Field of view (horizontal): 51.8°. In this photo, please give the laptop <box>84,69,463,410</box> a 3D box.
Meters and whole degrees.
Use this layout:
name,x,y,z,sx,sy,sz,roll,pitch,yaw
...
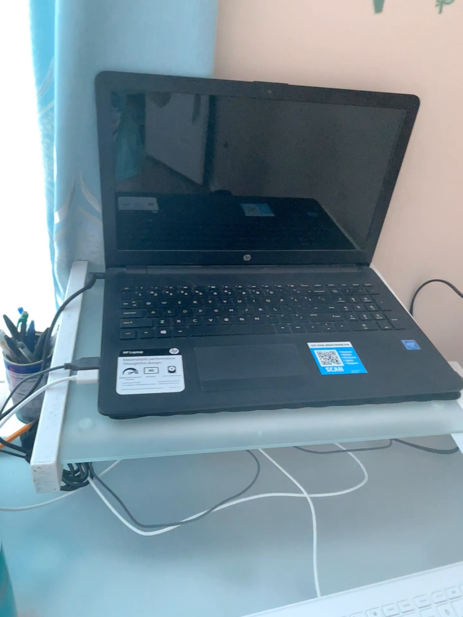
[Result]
name,x,y,z,sx,sy,sz,roll,pitch,yaw
laptop,0.049,-0.079,0.486,0.358,0.225,0.246,-1,36,-13
